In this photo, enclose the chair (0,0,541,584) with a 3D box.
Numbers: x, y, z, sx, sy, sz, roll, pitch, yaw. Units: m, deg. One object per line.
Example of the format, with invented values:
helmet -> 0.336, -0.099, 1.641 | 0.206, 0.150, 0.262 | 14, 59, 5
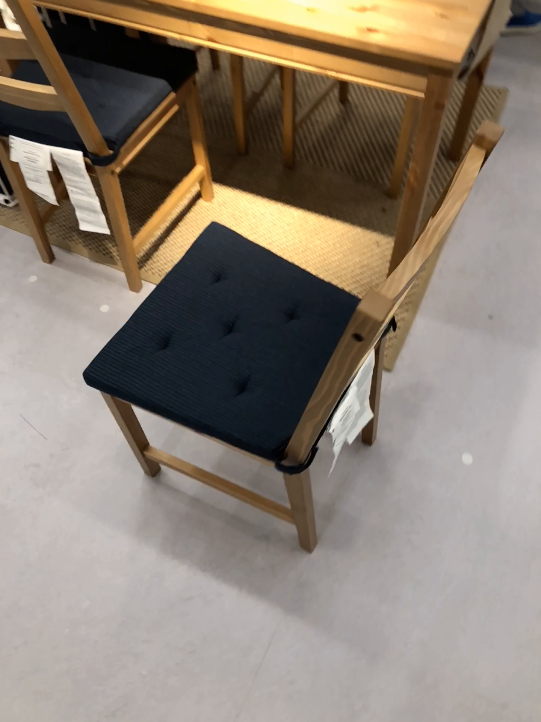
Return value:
chair -> 0.010, -0.036, 1.053 | 0.521, 0.865, 0.442 | 24, 61, 16
